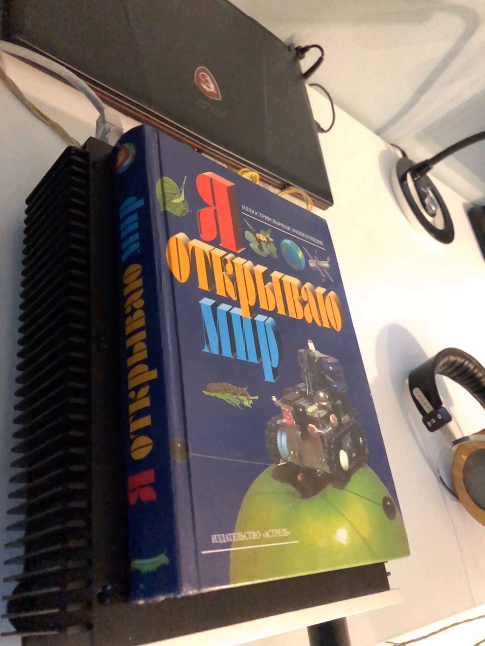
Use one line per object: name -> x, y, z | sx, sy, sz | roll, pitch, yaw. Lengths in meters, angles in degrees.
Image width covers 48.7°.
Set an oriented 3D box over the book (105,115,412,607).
book -> 0.009, 0.017, 0.330 | 0.187, 0.030, 0.256 | 16, 55, -41
